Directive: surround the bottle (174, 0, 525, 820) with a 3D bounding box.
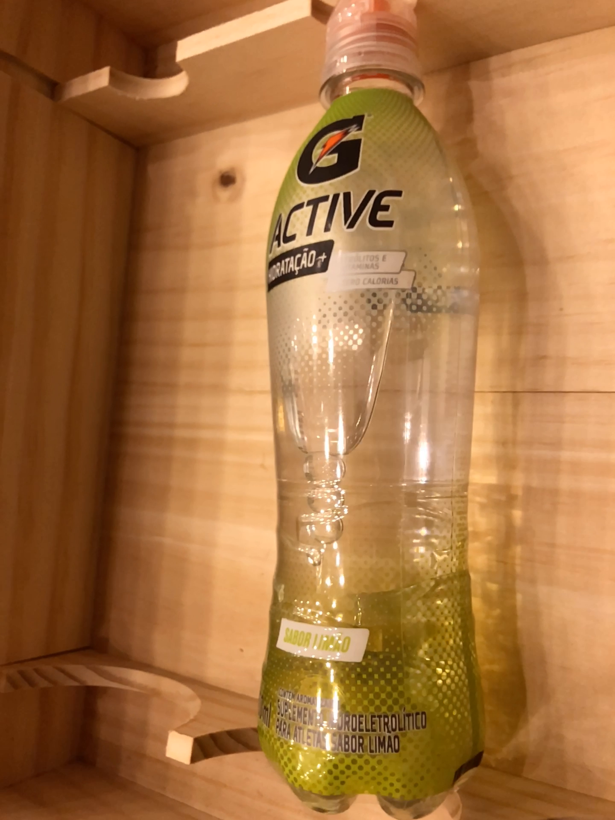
[{"bbox_3d":[0.020,-0.024,0.207,0.070,0.070,0.270,-2,81,31],"label":"bottle"}]
